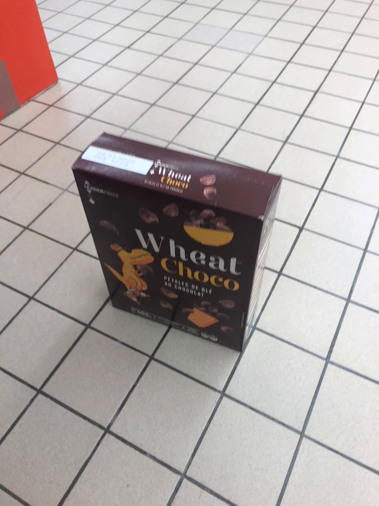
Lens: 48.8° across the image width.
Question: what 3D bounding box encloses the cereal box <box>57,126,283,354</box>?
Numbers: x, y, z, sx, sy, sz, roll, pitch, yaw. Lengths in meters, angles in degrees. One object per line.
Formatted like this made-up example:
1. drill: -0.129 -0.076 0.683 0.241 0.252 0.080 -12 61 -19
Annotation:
1. cereal box: -0.016 -0.001 0.487 0.200 0.249 0.070 17 54 15
